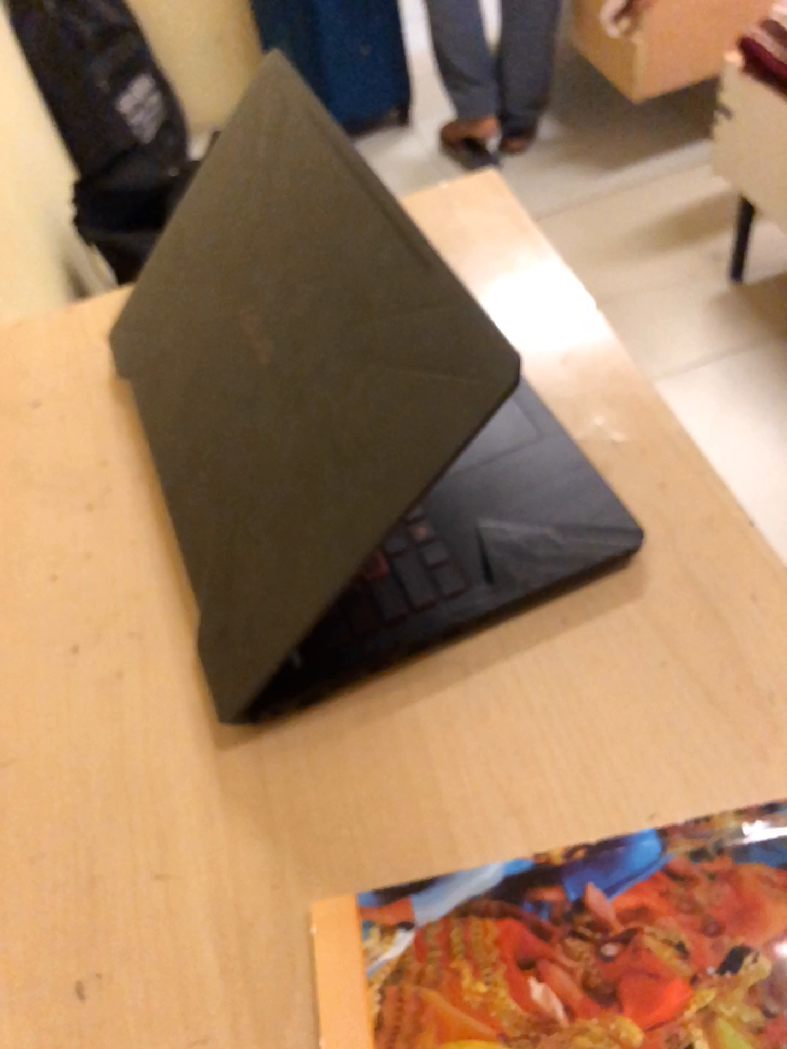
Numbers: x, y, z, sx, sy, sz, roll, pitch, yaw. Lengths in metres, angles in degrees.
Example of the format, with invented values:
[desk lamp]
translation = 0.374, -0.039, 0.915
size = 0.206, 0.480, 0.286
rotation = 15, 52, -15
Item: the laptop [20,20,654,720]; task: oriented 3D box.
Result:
[laptop]
translation = -0.052, -0.122, 0.562
size = 0.252, 0.173, 0.371
rotation = -24, 52, -6
